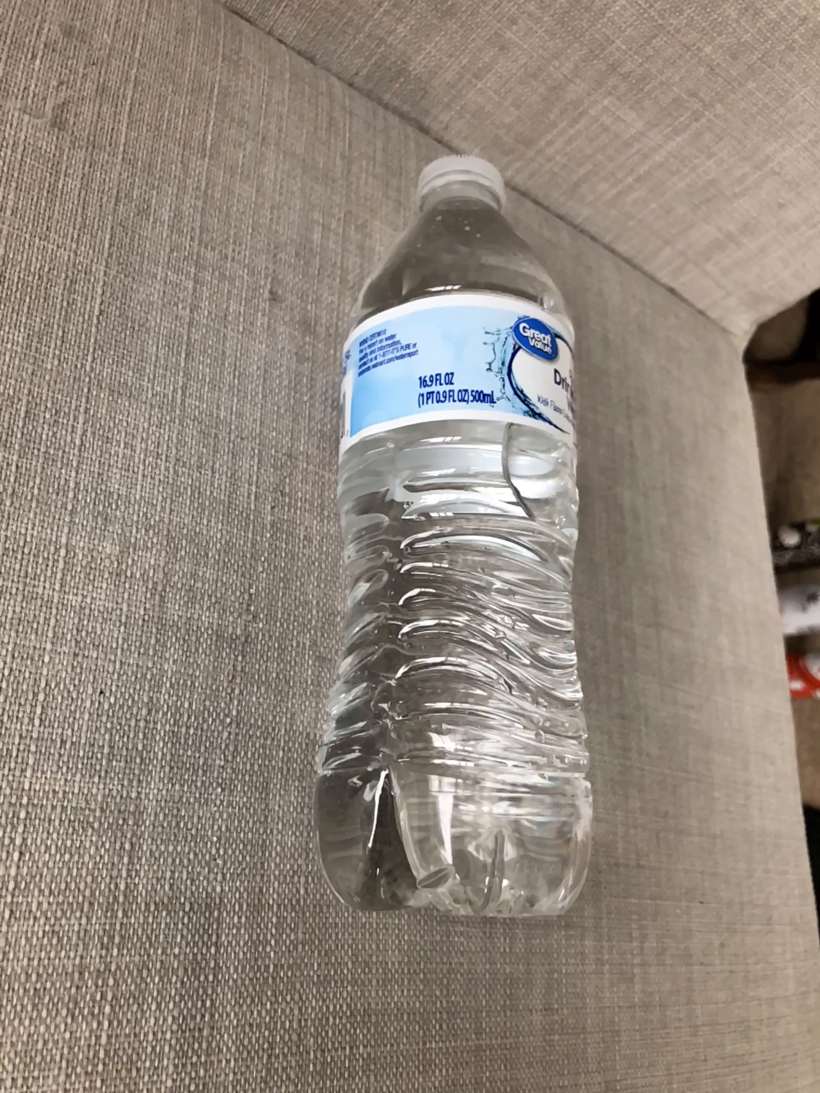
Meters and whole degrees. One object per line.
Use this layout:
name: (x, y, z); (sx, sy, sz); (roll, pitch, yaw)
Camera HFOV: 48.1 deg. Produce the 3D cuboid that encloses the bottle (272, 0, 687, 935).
bottle: (0.021, -0.026, 0.245); (0.070, 0.080, 0.231); (43, 45, -65)
